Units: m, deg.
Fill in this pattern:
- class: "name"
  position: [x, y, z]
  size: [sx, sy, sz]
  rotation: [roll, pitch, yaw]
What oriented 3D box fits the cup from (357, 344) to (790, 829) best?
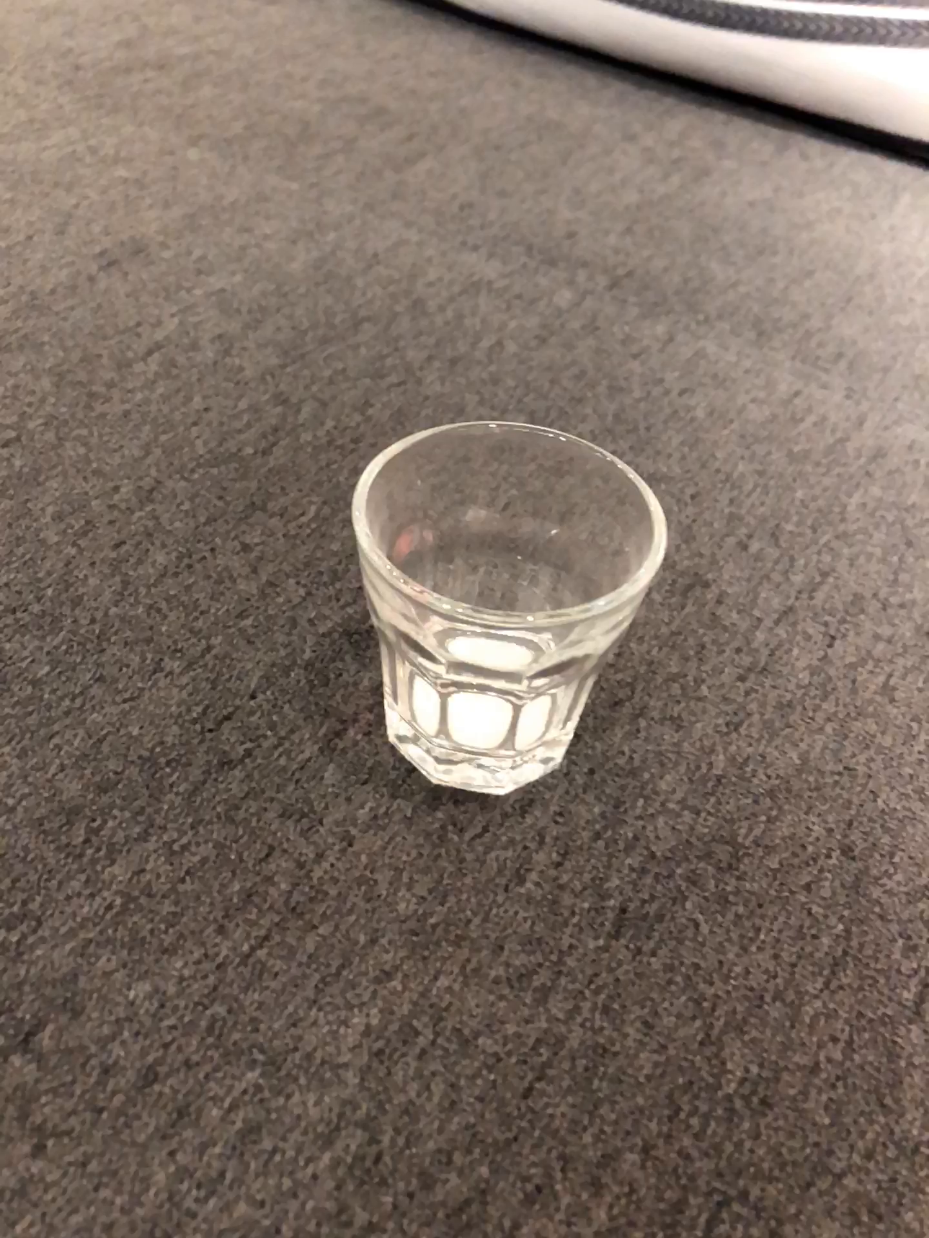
- class: "cup"
  position: [0.018, -0.007, 0.187]
  size: [0.060, 0.050, 0.060]
  rotation: [5, 43, -5]
